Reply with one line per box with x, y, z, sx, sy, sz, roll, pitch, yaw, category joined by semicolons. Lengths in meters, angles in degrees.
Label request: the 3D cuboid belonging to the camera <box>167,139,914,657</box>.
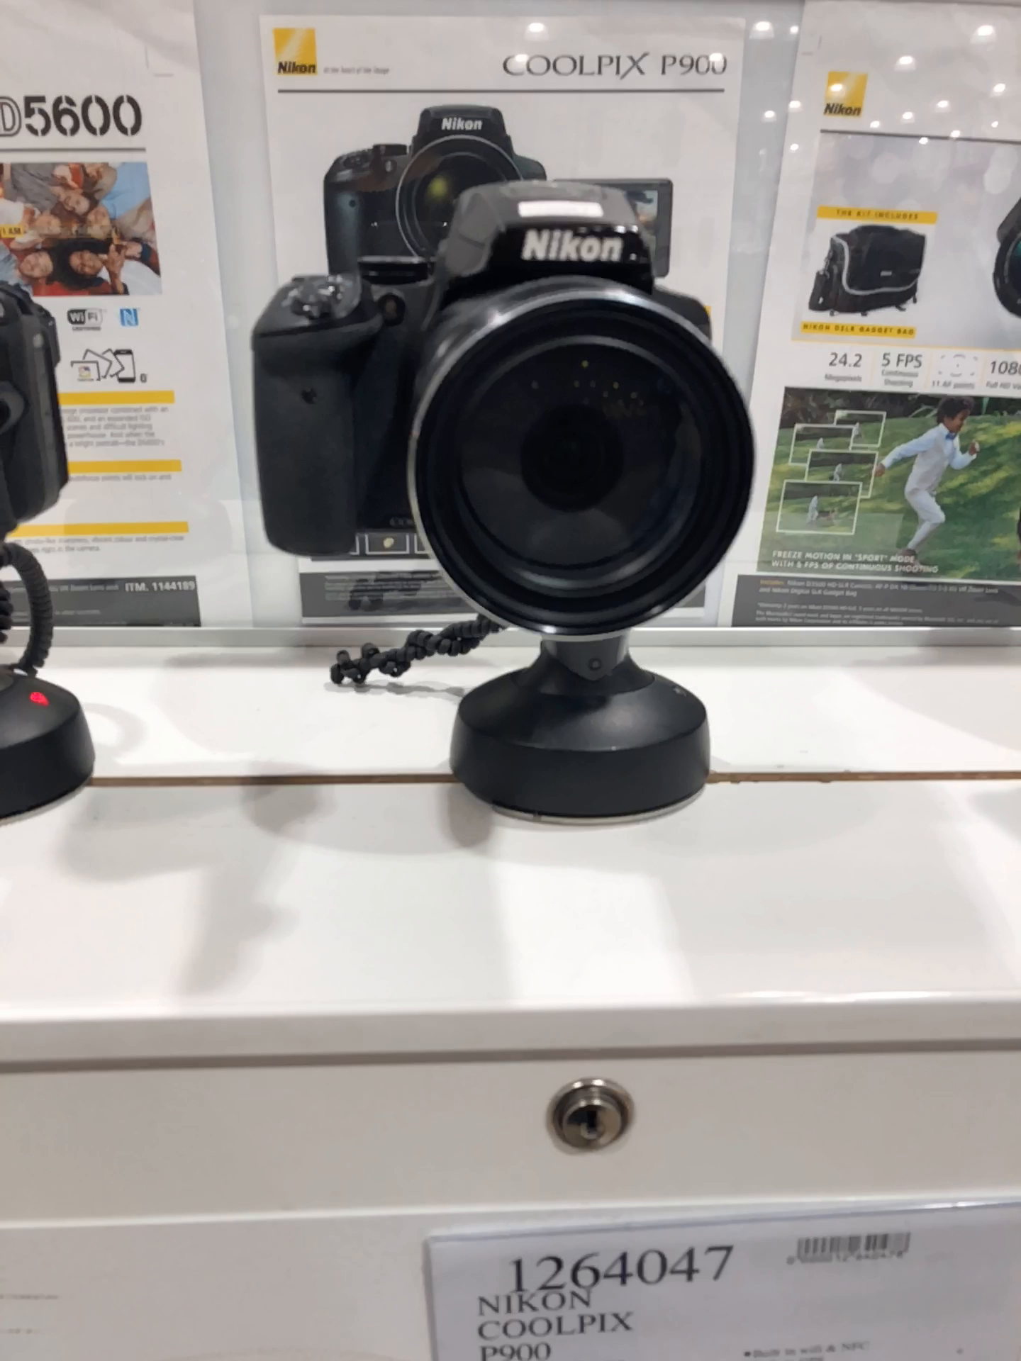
0.000;-0.082;0.301;0.140;0.100;0.161;-1;21;-5;camera
